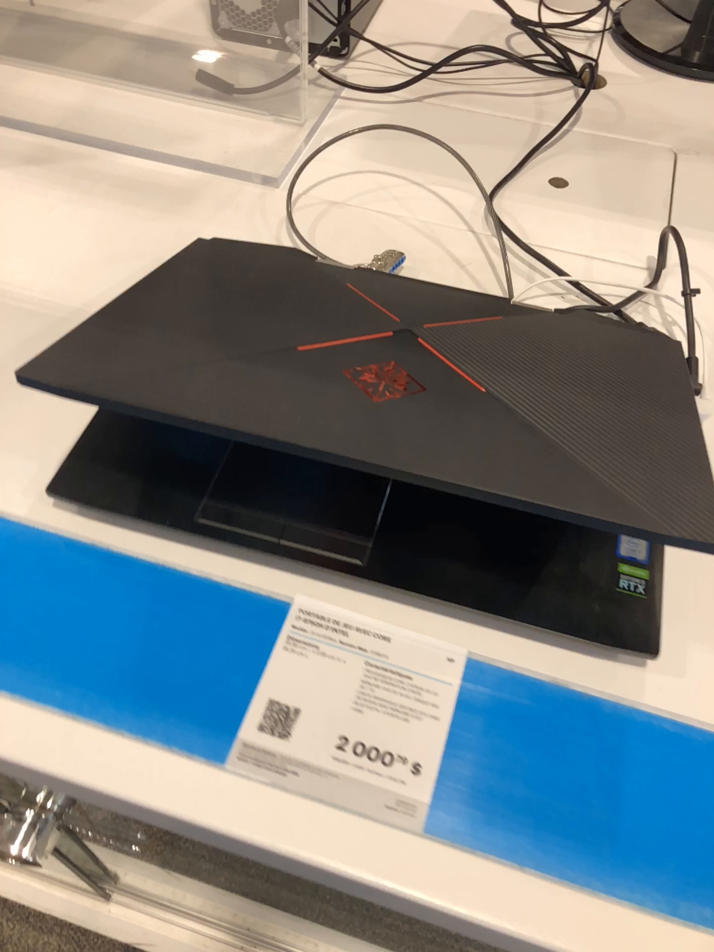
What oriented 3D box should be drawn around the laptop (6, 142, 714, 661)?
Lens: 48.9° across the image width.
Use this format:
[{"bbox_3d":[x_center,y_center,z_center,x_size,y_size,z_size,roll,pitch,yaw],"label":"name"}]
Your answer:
[{"bbox_3d":[0.021,-0.064,0.466,0.346,0.085,0.235,15,53,8],"label":"laptop"}]
